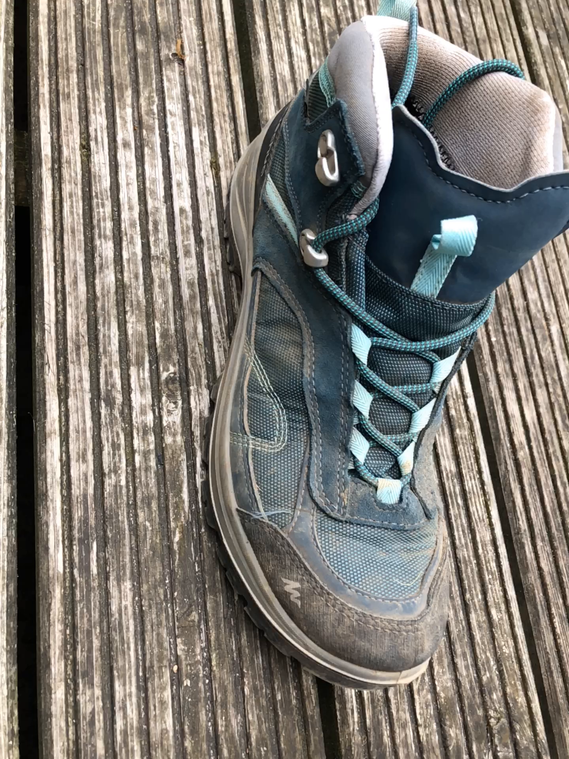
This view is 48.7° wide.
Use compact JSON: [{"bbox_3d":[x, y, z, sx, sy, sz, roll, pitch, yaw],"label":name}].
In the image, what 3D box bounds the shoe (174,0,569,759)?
[{"bbox_3d":[0.034,-0.017,0.260,0.120,0.119,0.280,2,73,-24],"label":"shoe"}]
